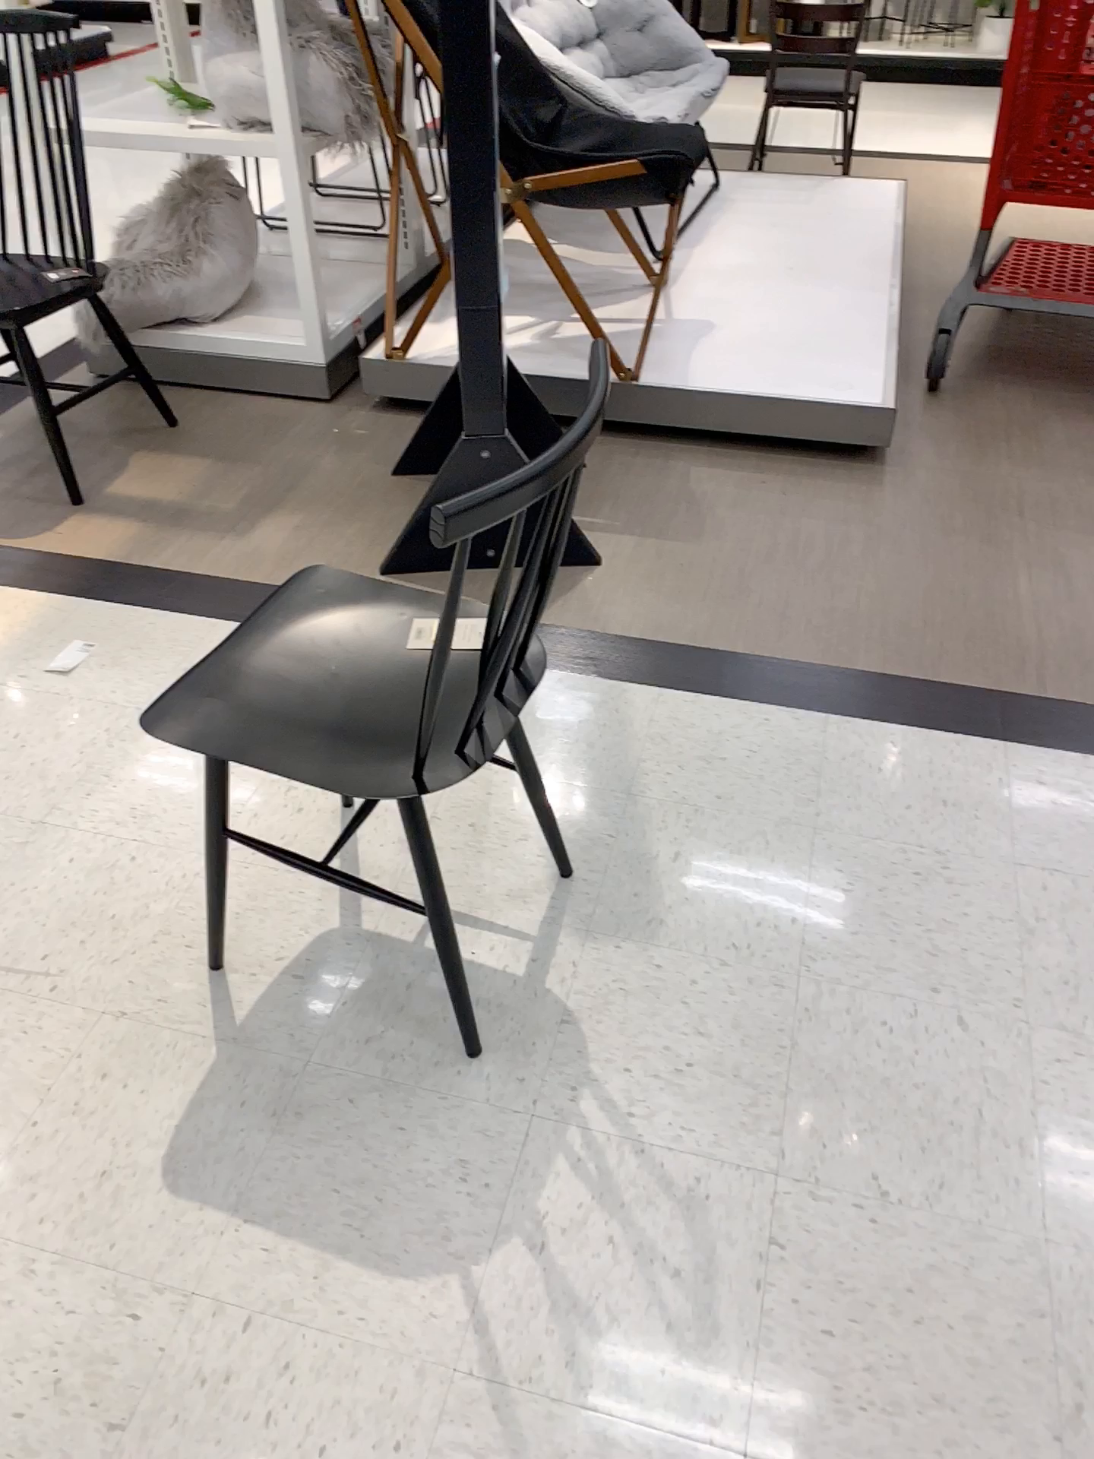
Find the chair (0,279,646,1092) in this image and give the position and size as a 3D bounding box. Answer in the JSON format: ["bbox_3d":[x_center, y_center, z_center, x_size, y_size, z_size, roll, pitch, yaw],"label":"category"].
[{"bbox_3d":[-0.219,-0.059,1.327,0.521,0.736,0.482,13,41,16],"label":"chair"}]
